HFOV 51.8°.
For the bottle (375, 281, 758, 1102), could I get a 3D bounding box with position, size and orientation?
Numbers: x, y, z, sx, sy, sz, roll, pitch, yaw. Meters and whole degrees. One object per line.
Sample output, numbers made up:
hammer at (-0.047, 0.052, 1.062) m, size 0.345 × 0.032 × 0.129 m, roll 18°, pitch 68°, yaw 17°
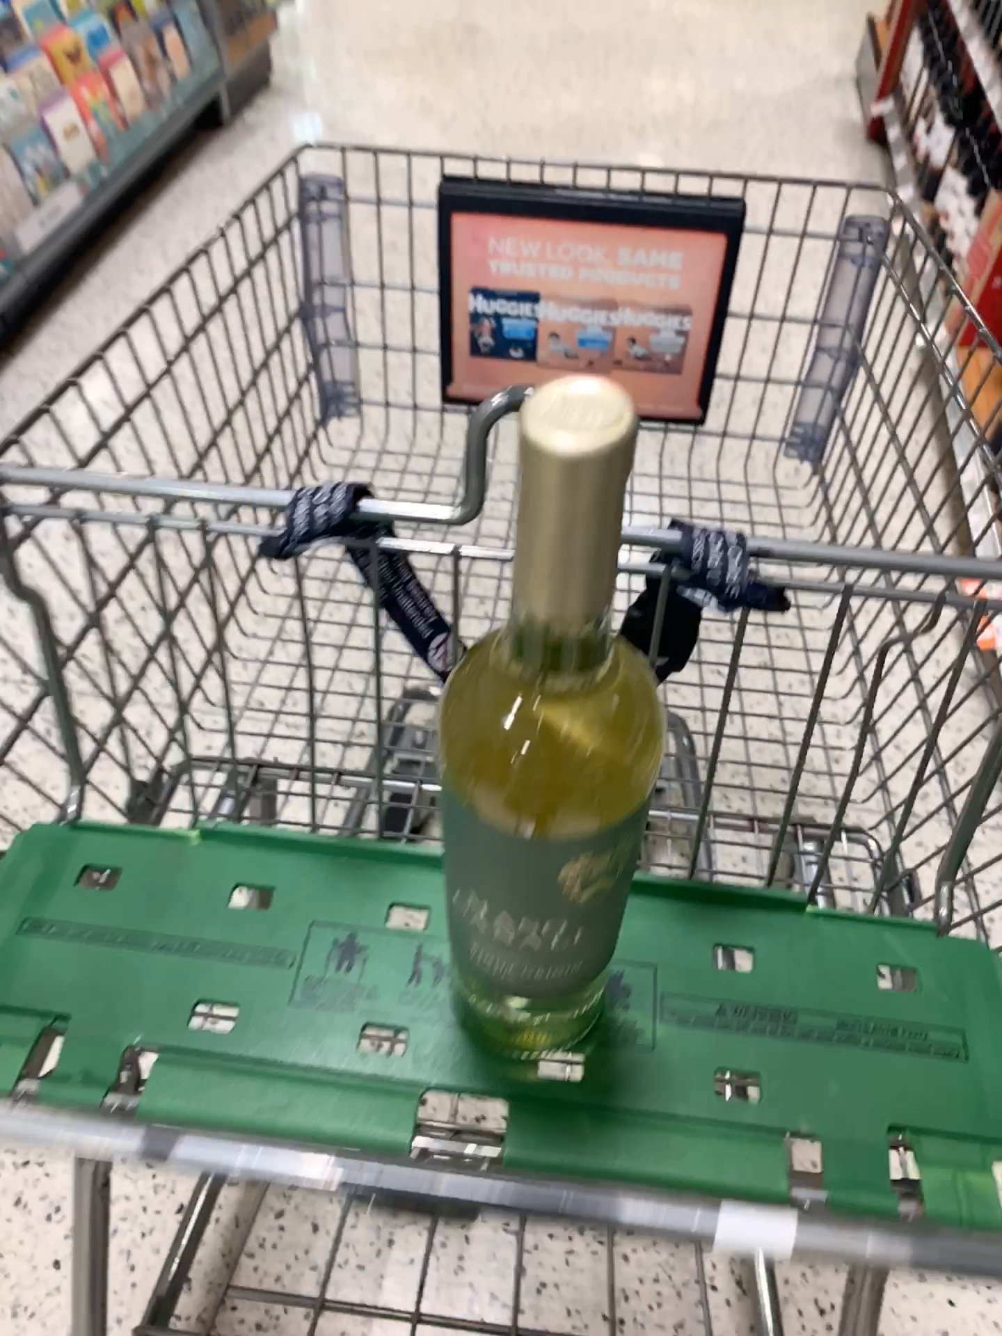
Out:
bottle at (0.017, 0.044, 0.383) m, size 0.080 × 0.338 × 0.091 m, roll 11°, pitch 48°, yaw 8°
